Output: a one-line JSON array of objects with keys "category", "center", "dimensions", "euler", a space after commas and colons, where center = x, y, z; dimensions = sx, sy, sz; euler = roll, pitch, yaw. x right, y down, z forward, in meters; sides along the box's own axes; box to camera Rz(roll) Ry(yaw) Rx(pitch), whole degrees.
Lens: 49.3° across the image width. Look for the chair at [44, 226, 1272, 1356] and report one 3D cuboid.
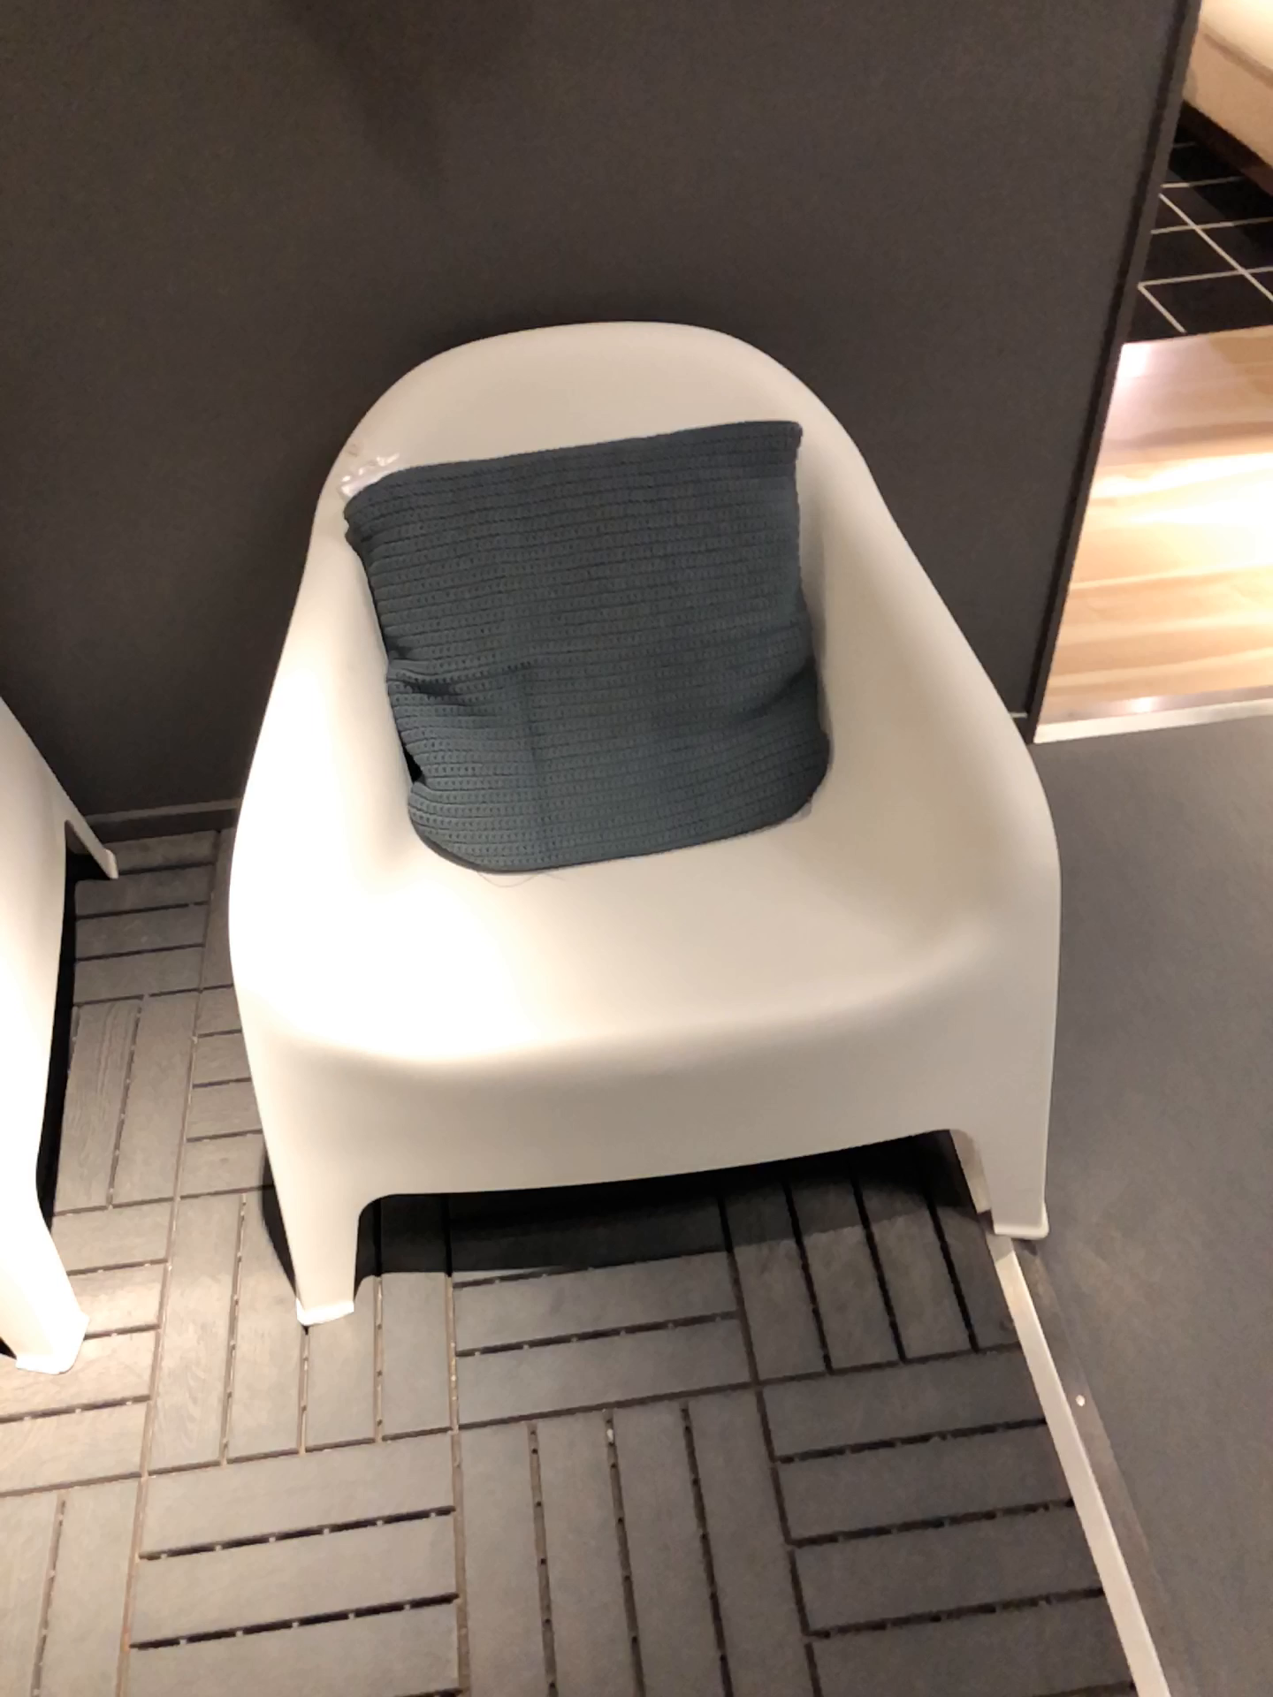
[{"category": "chair", "center": [-0.011, -0.077, 1.458], "dimensions": [0.830, 0.765, 0.785], "euler": [-7, 45, -5]}]
